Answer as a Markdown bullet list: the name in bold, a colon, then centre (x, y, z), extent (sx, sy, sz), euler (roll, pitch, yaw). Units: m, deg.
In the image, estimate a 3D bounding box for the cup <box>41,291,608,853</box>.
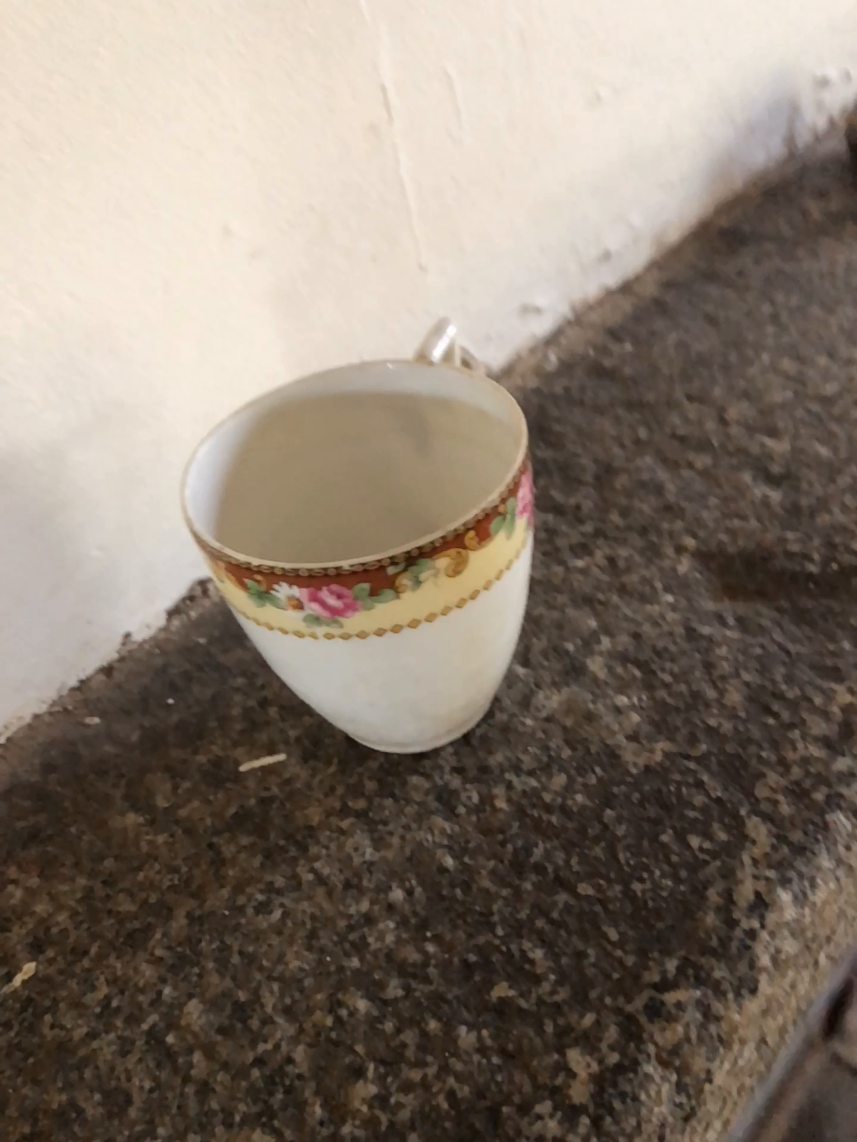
- **cup**: centre (-0.013, -0.006, 0.203), extent (0.070, 0.060, 0.091), euler (15, 49, 26)
